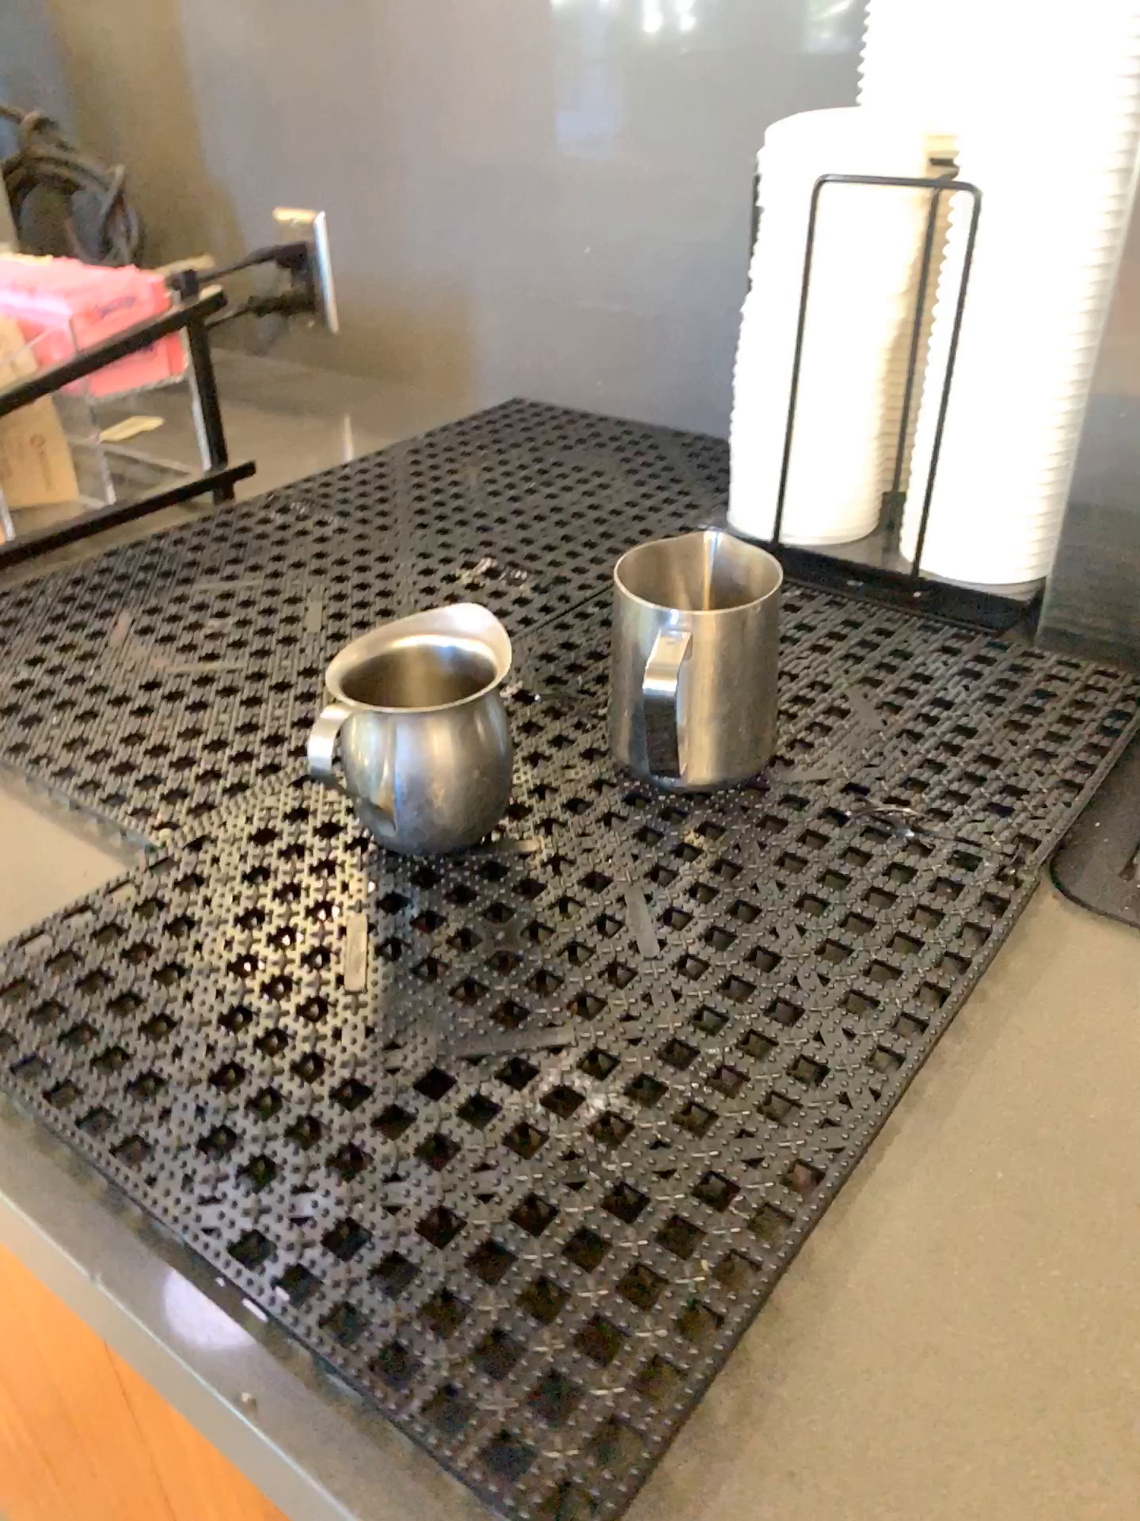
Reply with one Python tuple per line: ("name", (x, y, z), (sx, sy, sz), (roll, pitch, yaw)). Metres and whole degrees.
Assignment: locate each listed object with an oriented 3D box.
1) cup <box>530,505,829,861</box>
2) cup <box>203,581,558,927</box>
("cup", (0.045, -0.036, 0.452), (0.080, 0.080, 0.121), (10, 34, 18))
("cup", (-0.066, -0.009, 0.455), (0.080, 0.070, 0.121), (11, 34, 19))
